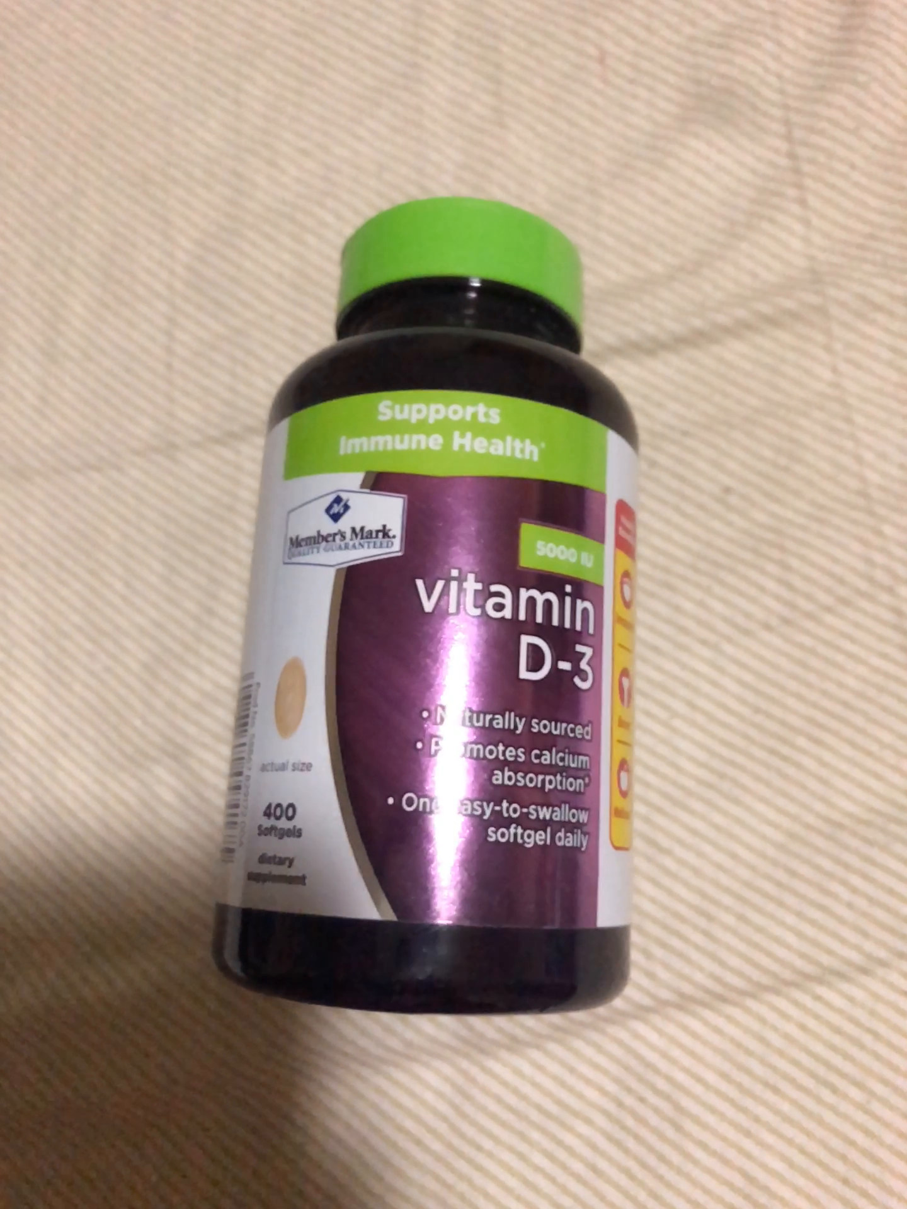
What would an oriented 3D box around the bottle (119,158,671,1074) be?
[{"bbox_3d":[-0.003,0.002,0.153,0.060,0.060,0.110,2,78,3],"label":"bottle"}]
